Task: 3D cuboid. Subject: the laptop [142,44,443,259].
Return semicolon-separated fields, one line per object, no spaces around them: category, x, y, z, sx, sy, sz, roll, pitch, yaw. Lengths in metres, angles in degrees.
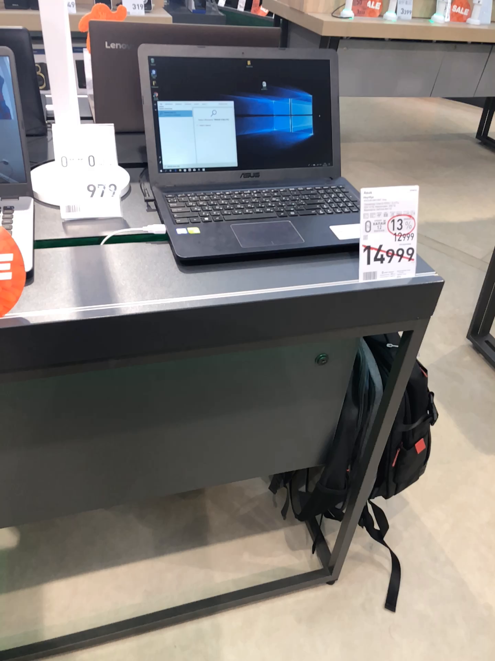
laptop;0.039;-0.327;0.932;0.380;0.209;0.371;-7;40;-15
